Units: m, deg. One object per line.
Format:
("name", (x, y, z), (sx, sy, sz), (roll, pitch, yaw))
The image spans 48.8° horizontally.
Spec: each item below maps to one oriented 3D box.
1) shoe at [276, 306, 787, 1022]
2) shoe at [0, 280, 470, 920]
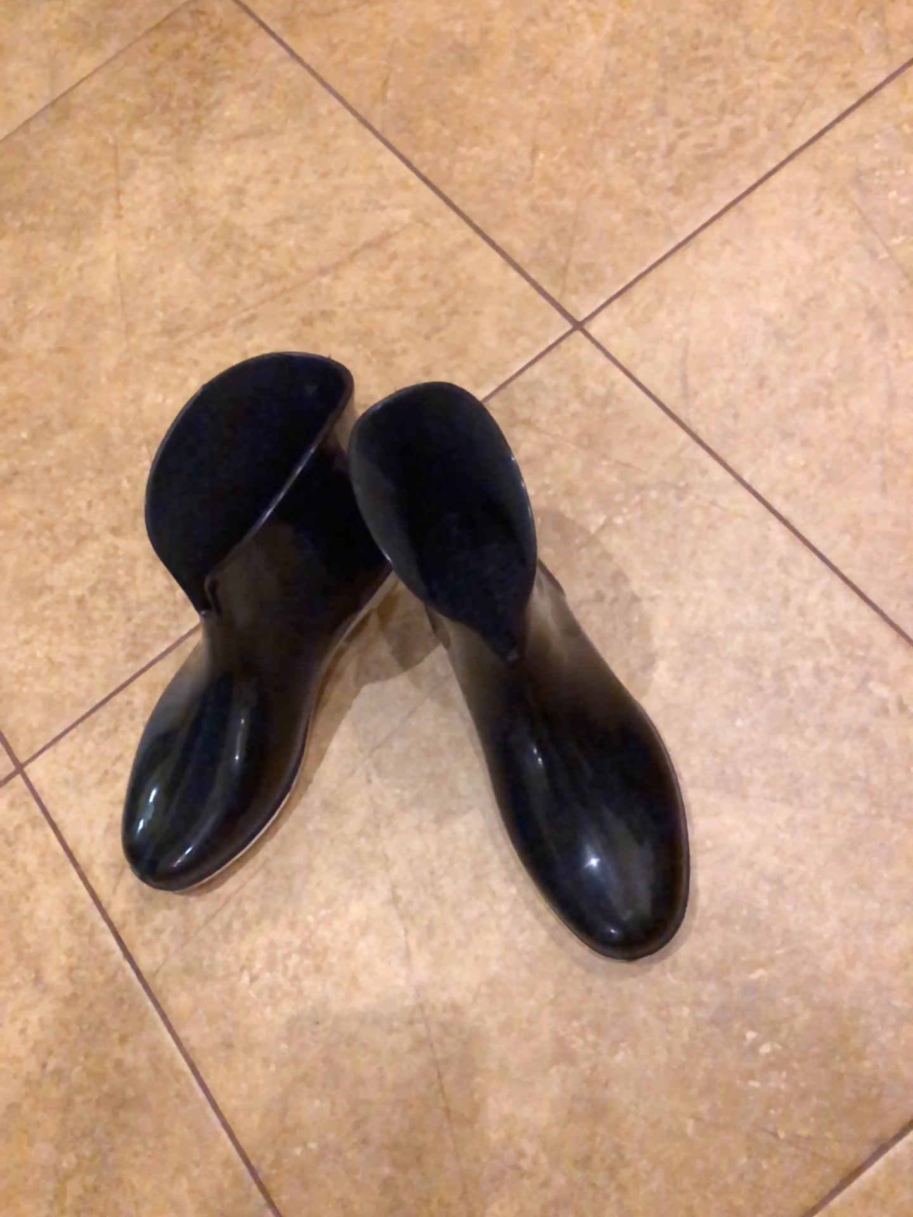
("shoe", (0.030, 0.031, 0.426), (0.090, 0.170, 0.241), (-24, 69, 3))
("shoe", (-0.108, 0.010, 0.464), (0.090, 0.170, 0.240), (28, 79, 19))
